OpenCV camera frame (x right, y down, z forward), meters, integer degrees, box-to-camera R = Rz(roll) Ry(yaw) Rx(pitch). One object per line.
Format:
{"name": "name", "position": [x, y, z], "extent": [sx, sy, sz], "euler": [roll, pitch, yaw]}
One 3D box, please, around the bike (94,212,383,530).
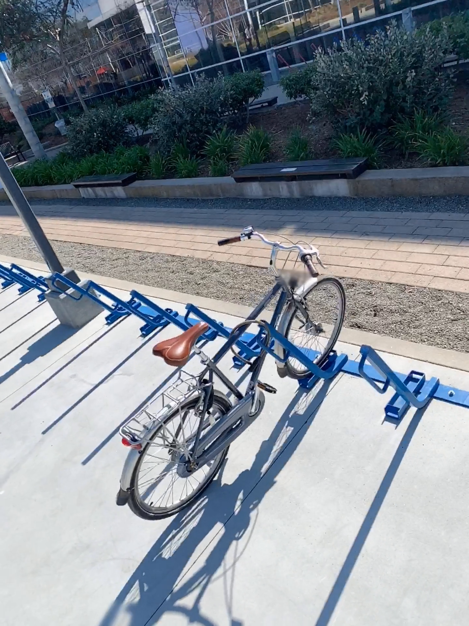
{"name": "bike", "position": [0.101, 0.192, 2.275], "extent": [1.062, 0.915, 0.593], "euler": [-38, 34, -29]}
